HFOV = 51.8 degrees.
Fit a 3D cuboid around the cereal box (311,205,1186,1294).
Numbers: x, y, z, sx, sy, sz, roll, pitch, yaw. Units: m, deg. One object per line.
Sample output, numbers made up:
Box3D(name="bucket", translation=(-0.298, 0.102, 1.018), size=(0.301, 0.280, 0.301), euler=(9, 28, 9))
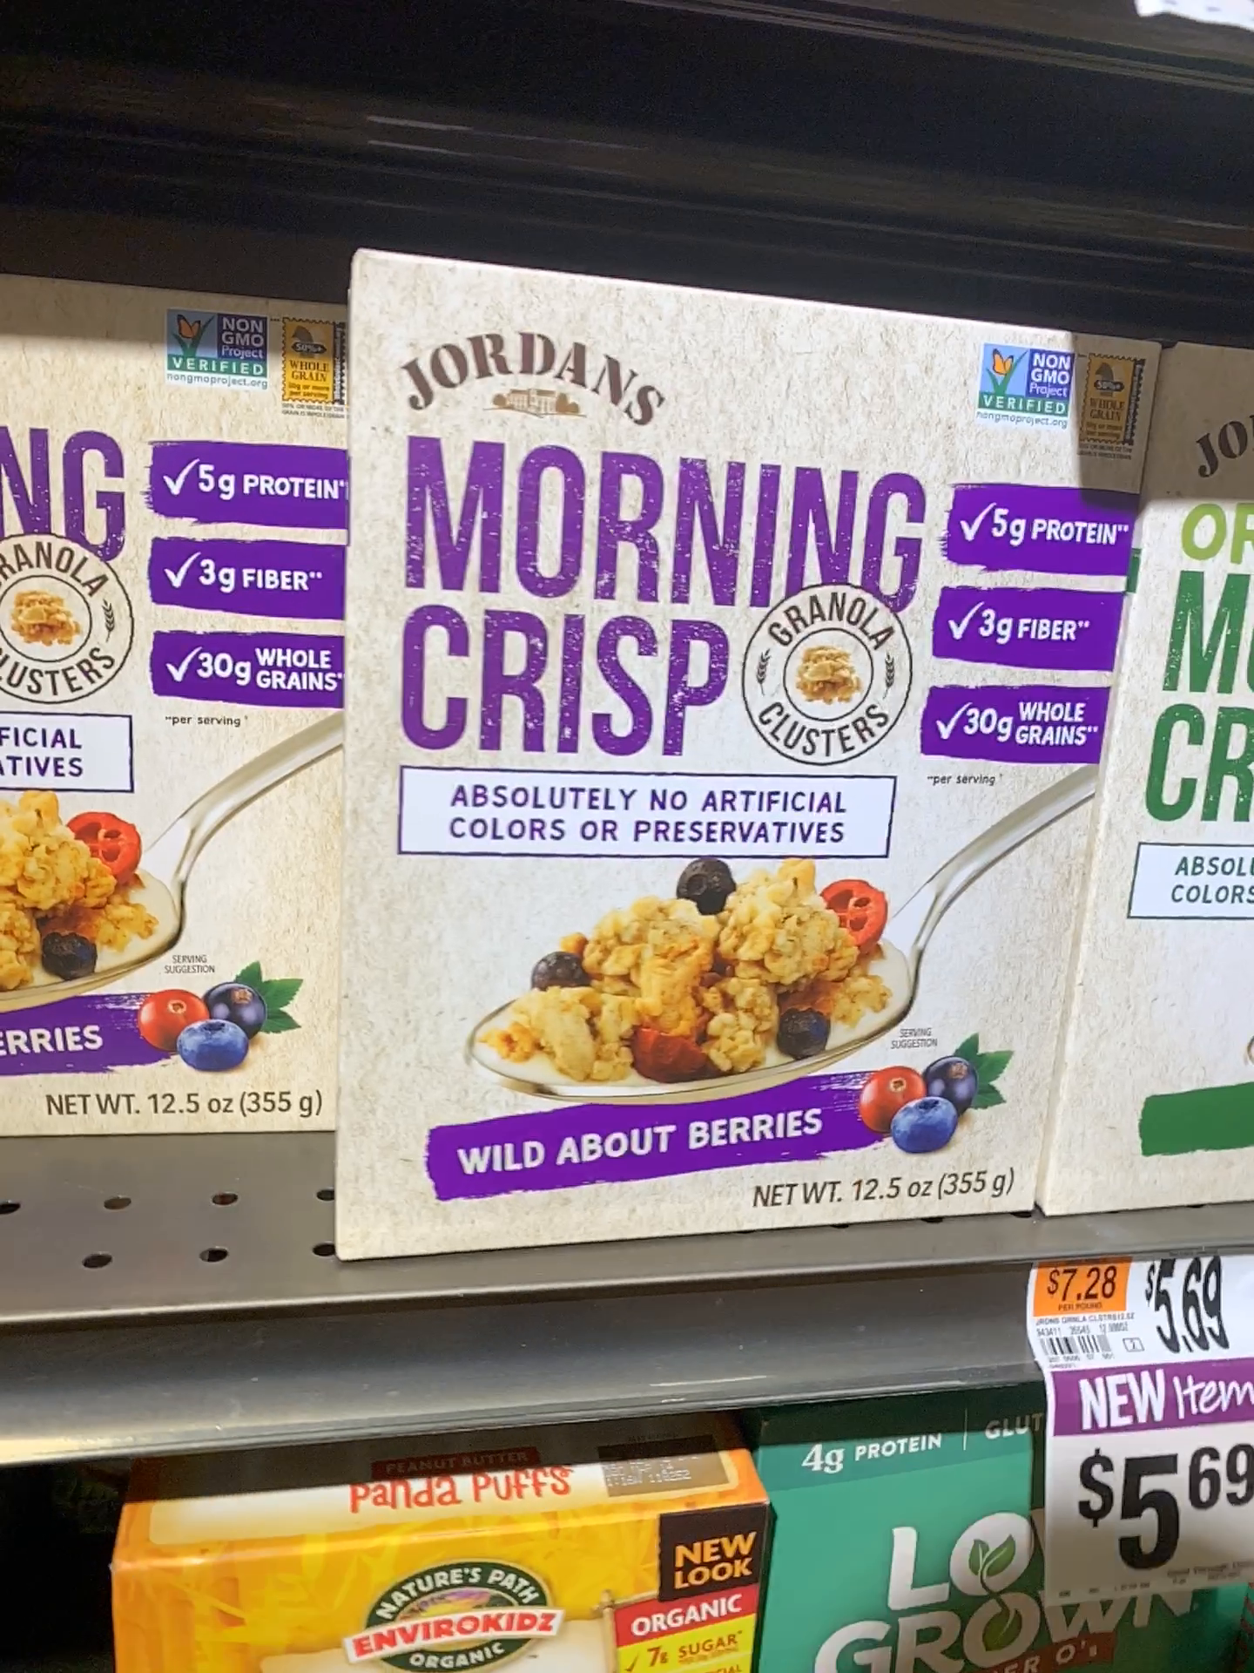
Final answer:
Box3D(name="cereal box", translation=(0.018, -0.014, 0.306), size=(0.180, 0.219, 0.060), euler=(0, 14, -14))
